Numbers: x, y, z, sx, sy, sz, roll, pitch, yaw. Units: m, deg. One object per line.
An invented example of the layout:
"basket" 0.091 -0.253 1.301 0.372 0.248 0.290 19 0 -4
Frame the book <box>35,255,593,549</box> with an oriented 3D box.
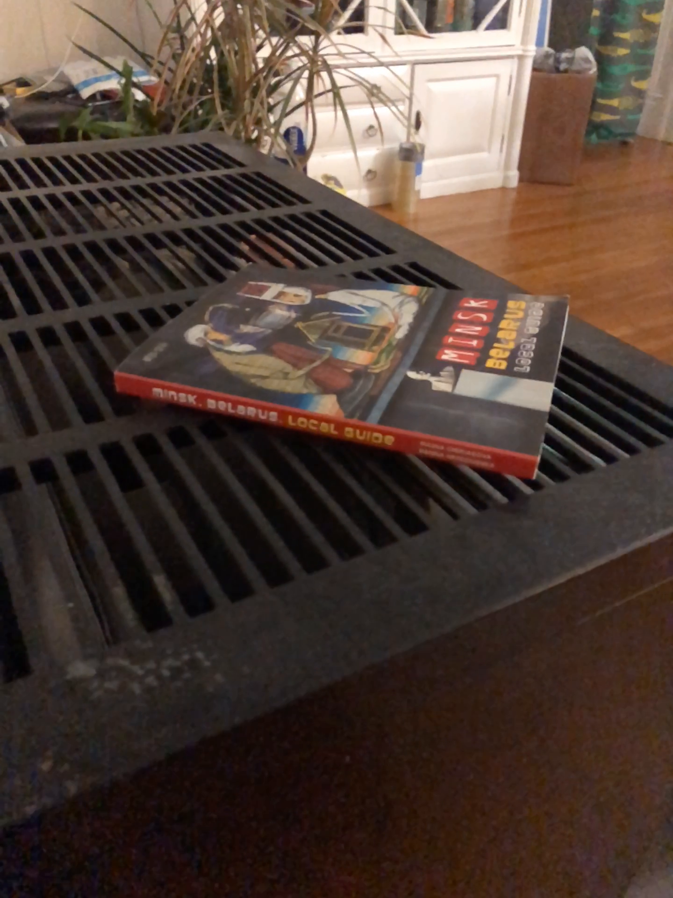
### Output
"book" 0.004 -0.037 0.330 0.200 0.020 0.161 12 36 15
